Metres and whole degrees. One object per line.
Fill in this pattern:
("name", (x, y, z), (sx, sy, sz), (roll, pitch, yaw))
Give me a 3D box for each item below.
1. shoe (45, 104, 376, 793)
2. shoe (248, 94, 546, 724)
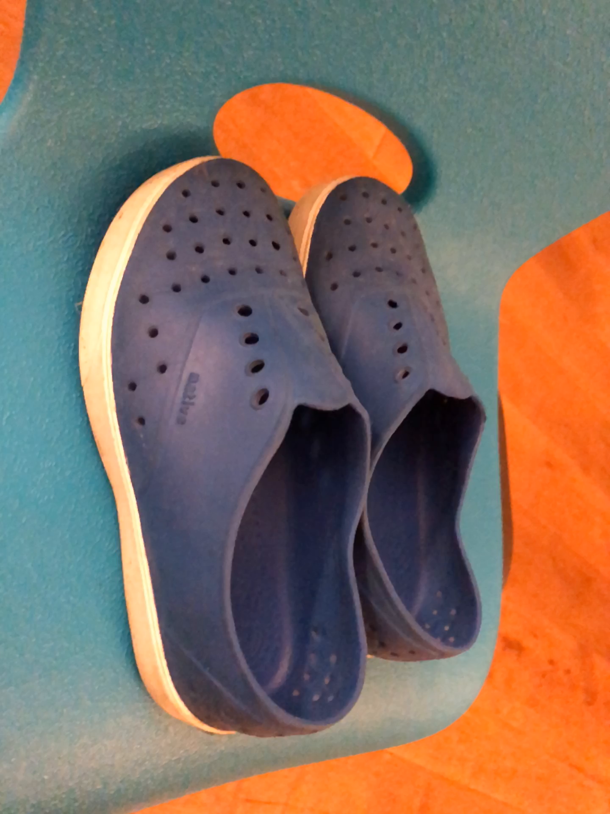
("shoe", (-0.040, 0.012, 0.265), (0.090, 0.080, 0.210), (1, 83, -39))
("shoe", (0.042, 0.000, 0.314), (0.100, 0.070, 0.240), (1, 83, -39))
